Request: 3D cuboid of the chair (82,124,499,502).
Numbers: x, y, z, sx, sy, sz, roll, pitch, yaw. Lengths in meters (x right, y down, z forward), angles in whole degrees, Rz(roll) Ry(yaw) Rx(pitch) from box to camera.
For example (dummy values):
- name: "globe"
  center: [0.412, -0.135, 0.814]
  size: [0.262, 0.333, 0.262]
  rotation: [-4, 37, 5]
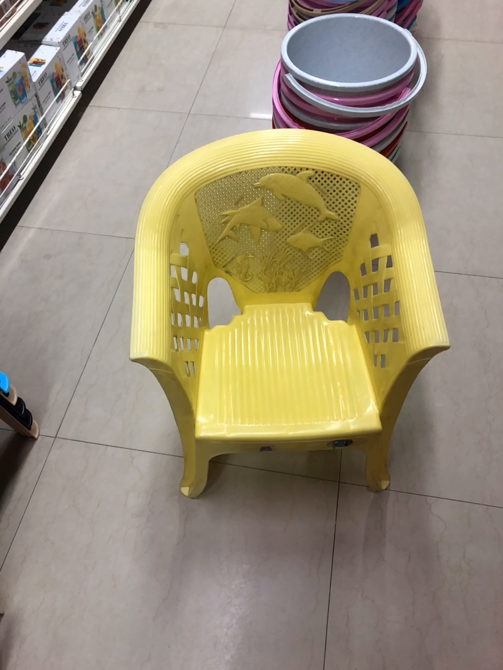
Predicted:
- name: "chair"
  center: [0.045, -0.027, 0.922]
  size: [0.470, 0.398, 0.473]
  rotation: [-2, 54, 1]
